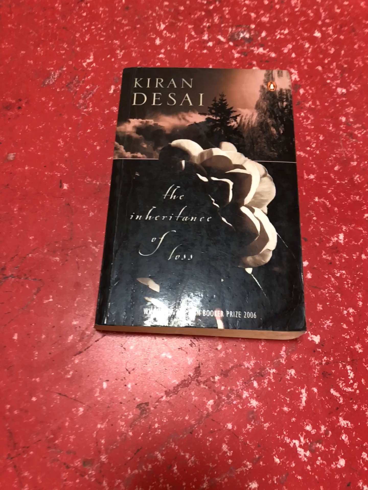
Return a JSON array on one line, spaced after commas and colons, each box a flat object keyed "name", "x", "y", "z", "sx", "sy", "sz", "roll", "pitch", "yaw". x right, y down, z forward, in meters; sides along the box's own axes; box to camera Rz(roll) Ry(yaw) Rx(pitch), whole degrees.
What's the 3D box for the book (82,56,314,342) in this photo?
[{"name": "book", "x": 0.011, "y": -0.034, "z": 0.291, "sx": 0.130, "sy": 0.060, "sz": 0.190, "roll": 2, "pitch": 70, "yaw": 2}]
